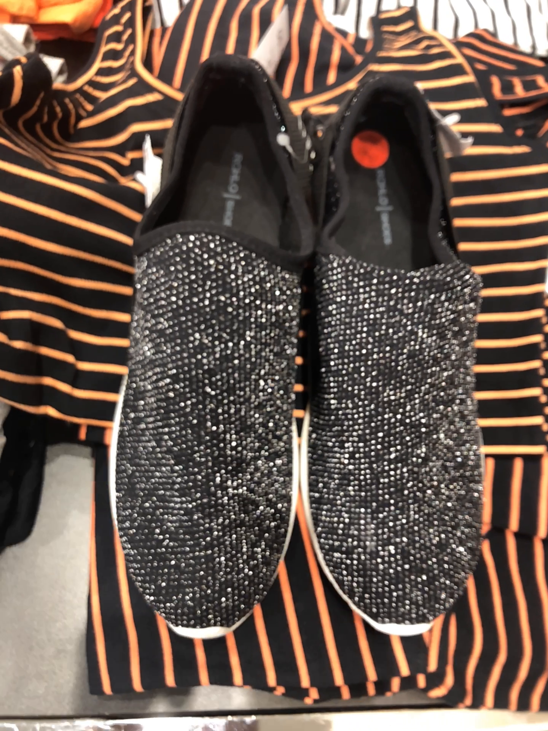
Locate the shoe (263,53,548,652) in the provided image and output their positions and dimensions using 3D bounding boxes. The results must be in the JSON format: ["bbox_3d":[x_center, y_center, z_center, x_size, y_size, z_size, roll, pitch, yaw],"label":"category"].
[{"bbox_3d":[0.056,-0.006,0.289,0.100,0.110,0.240,0,69,-8],"label":"shoe"}]

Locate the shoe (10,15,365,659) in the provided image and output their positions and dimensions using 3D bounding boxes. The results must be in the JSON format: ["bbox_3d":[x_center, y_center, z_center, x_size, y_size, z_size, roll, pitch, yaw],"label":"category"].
[{"bbox_3d":[-0.031,-0.011,0.270,0.100,0.110,0.241,2,69,-7],"label":"shoe"}]
